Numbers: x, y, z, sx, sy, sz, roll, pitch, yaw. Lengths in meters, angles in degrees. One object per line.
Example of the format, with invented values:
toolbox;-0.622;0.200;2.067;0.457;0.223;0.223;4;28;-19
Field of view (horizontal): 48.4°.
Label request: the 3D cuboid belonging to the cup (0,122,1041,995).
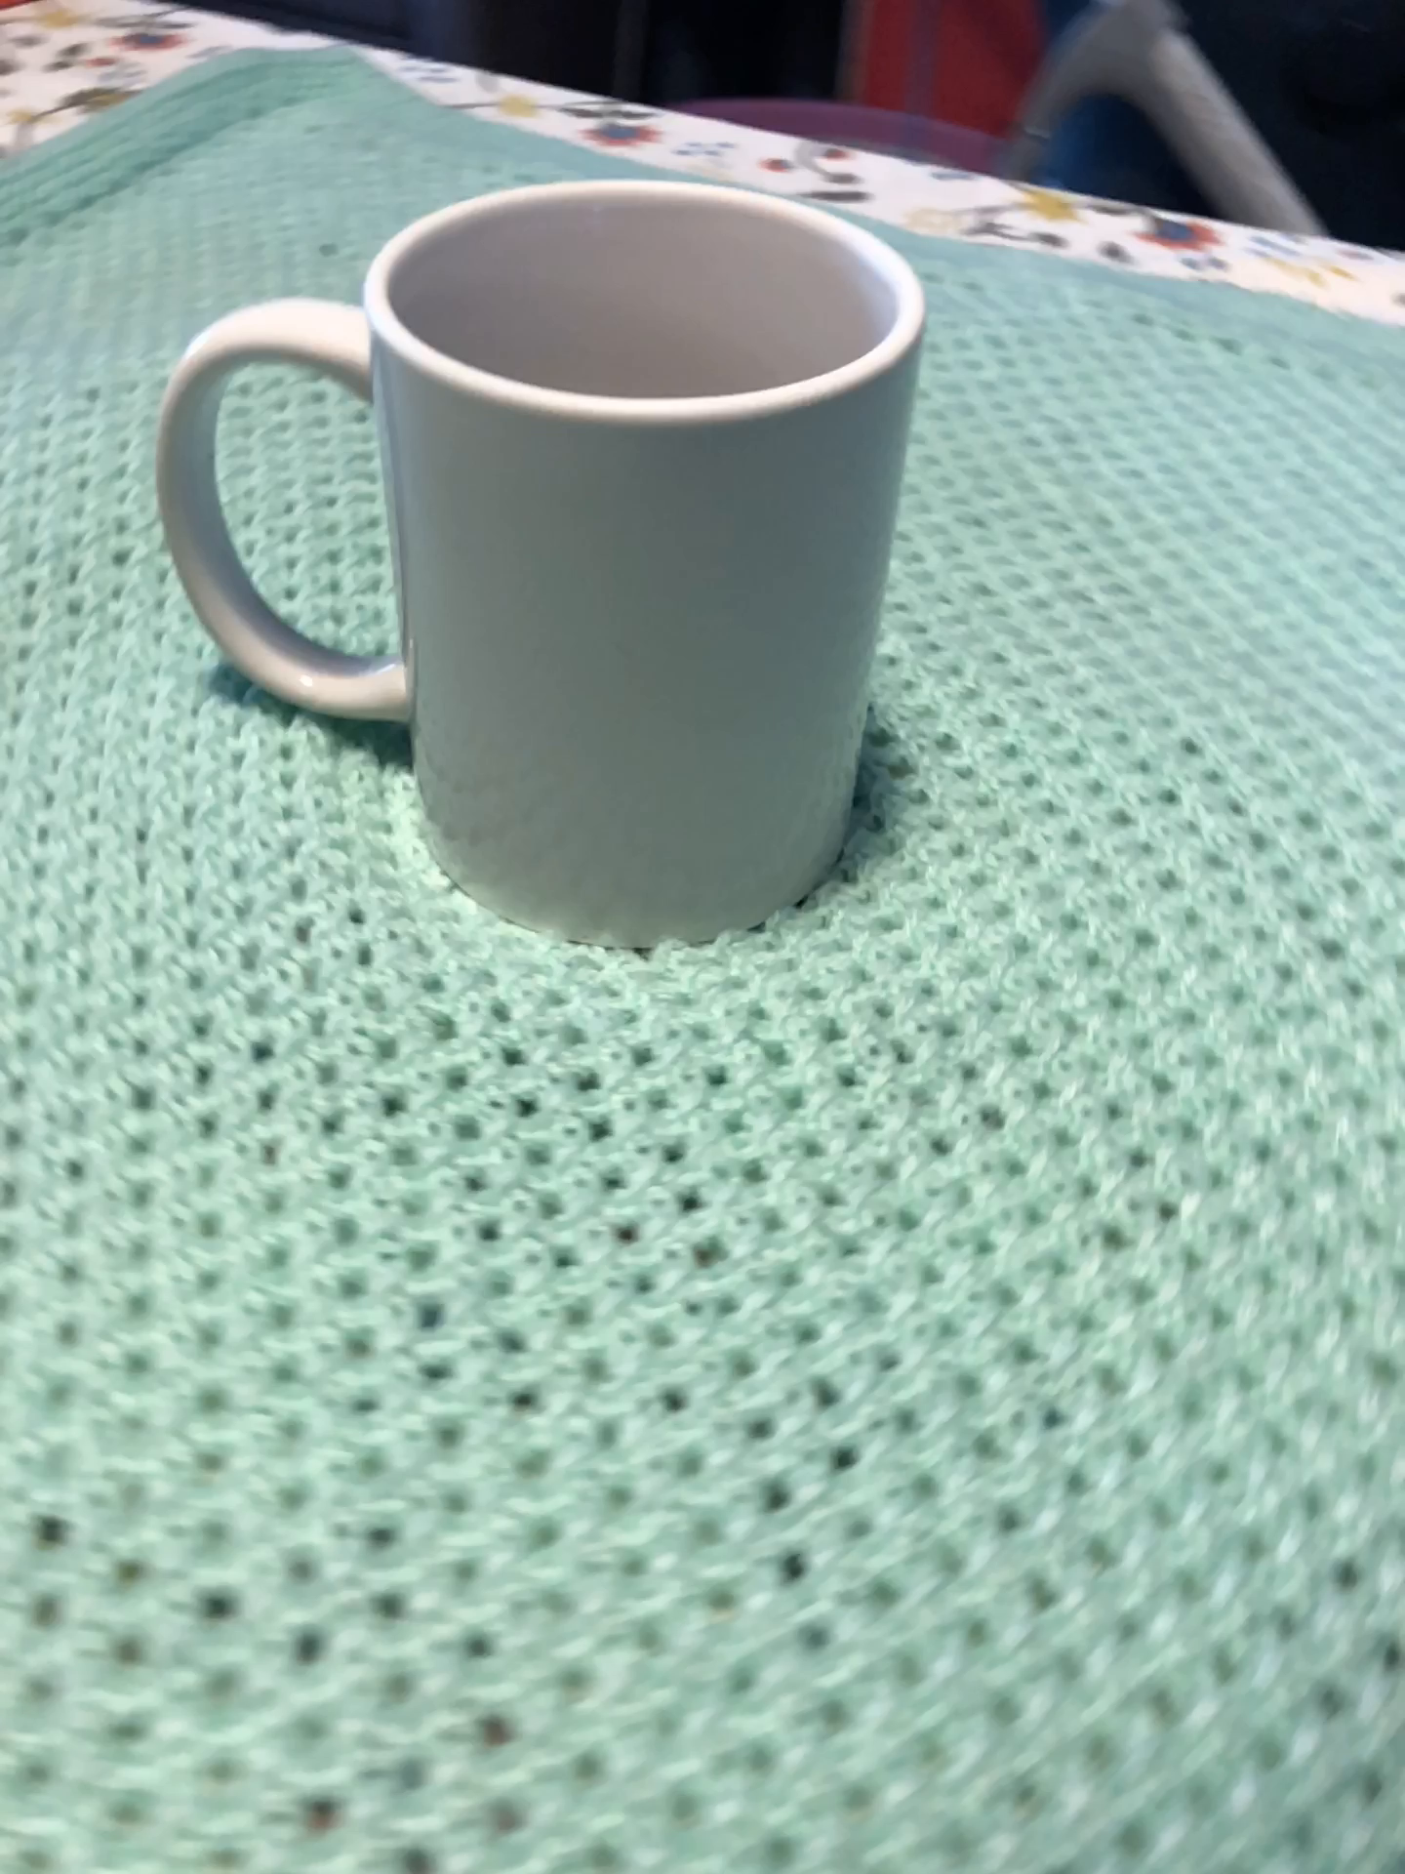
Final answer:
cup;-0.025;-0.066;0.255;0.140;0.079;0.101;10;44;5
